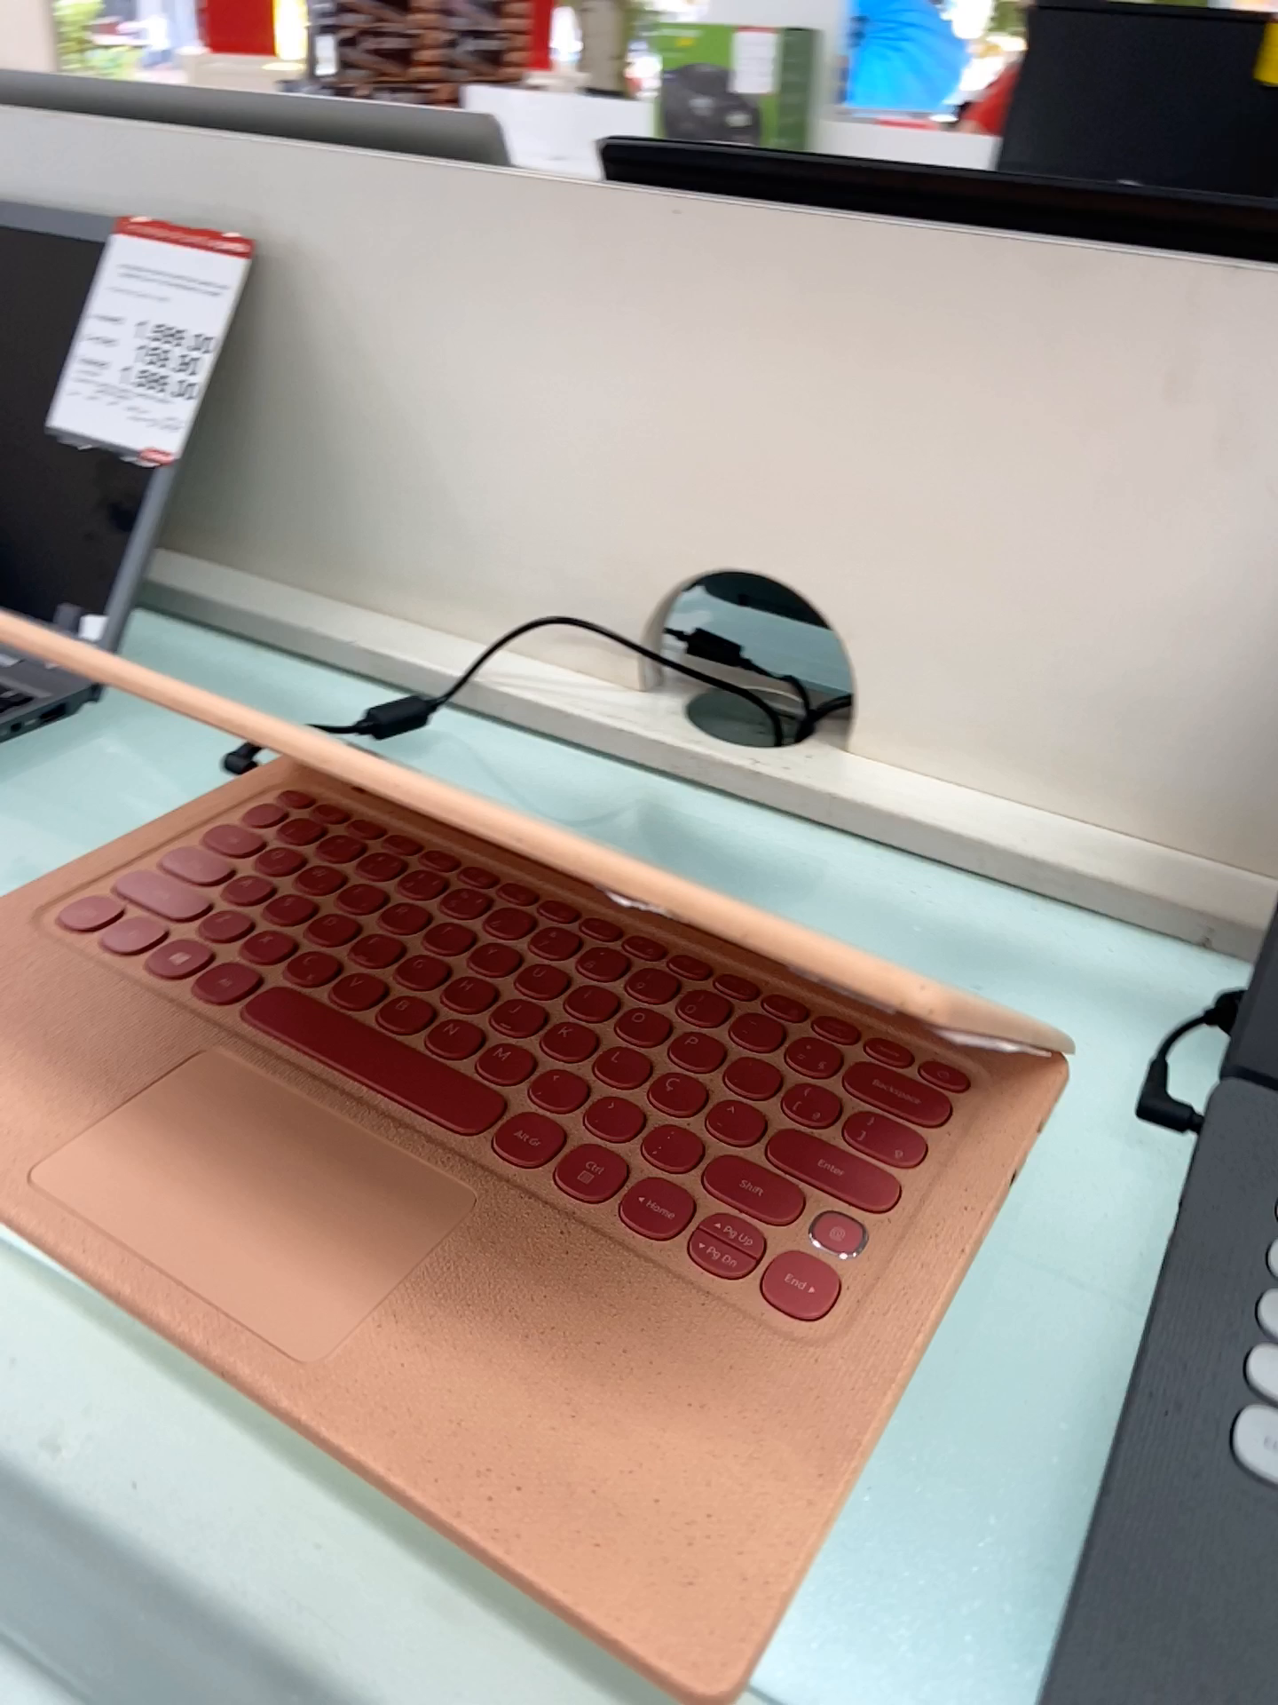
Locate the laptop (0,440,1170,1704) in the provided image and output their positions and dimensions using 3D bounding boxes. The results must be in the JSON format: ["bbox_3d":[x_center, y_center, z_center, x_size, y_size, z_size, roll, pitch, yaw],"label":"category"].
[{"bbox_3d":[-0.064,0.004,0.354,0.323,0.129,0.212,21,36,26],"label":"laptop"}]
